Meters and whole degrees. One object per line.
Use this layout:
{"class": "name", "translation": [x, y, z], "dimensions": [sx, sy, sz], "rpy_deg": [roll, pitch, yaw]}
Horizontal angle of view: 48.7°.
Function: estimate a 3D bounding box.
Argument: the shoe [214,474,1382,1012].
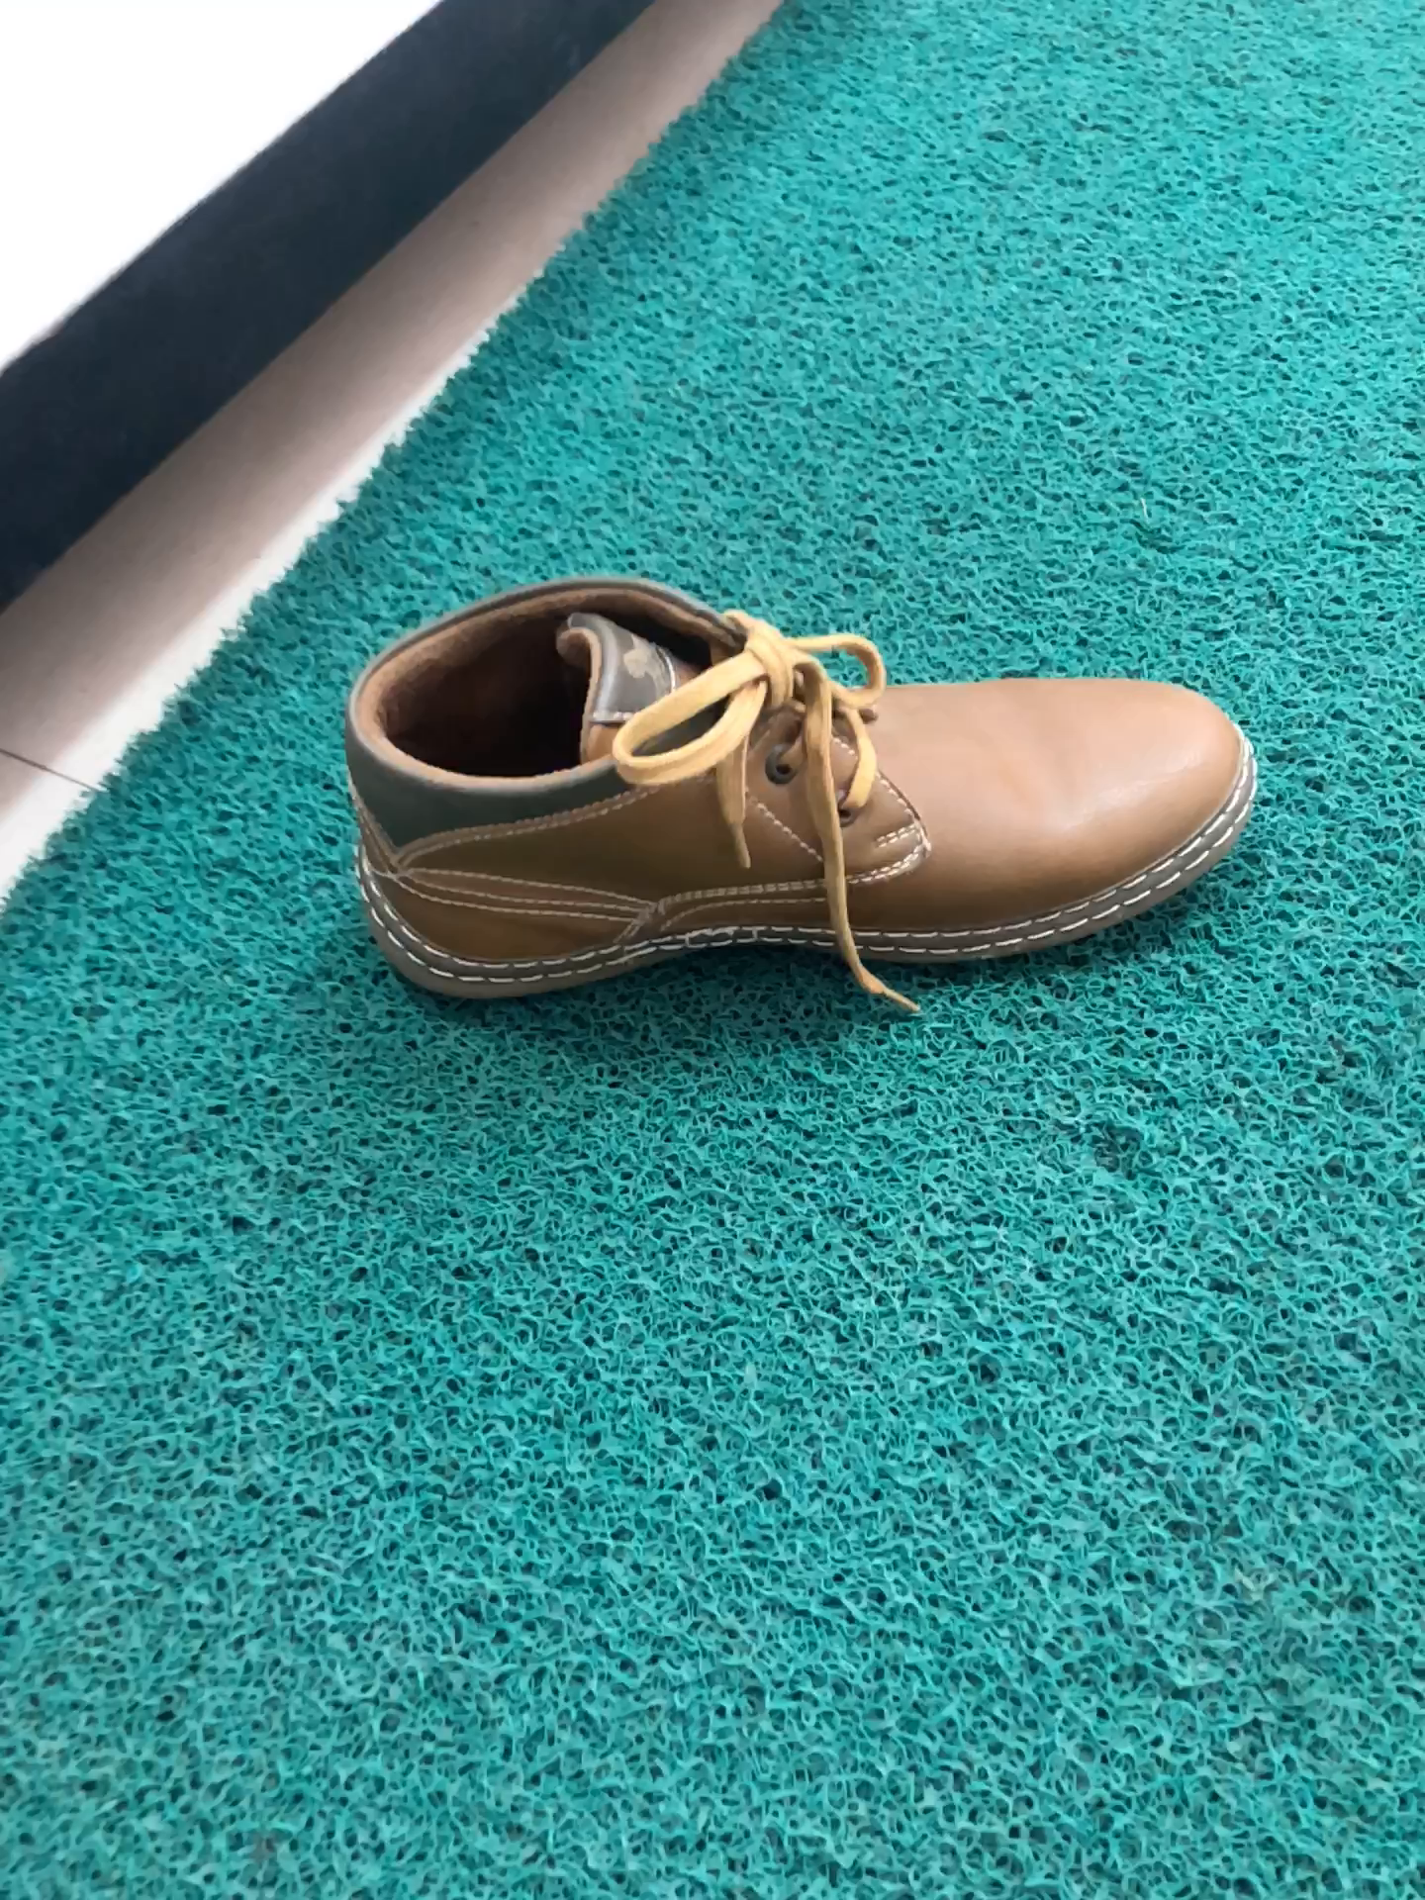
{"class": "shoe", "translation": [0.020, -0.055, 0.438], "dimensions": [0.280, 0.080, 0.100], "rpy_deg": [-4, 56, 3]}
